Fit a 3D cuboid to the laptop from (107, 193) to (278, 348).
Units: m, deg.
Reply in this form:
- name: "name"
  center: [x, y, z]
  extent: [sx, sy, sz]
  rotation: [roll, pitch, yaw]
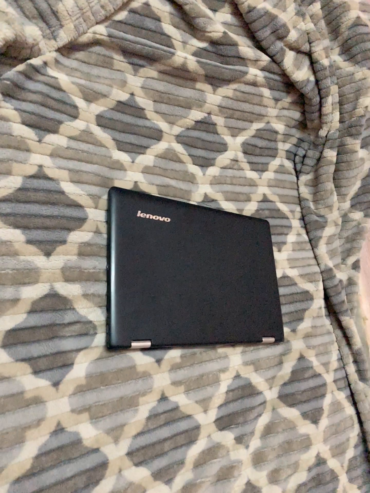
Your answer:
- name: "laptop"
  center: [0.029, 0.047, 0.639]
  extent: [0.340, 0.003, 0.228]
  rotation: [8, 71, -34]
